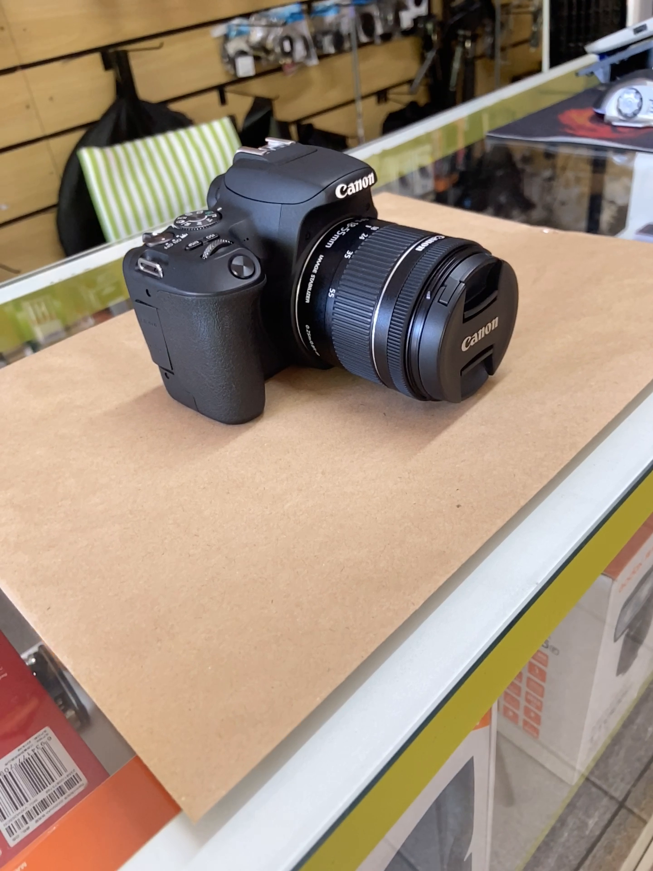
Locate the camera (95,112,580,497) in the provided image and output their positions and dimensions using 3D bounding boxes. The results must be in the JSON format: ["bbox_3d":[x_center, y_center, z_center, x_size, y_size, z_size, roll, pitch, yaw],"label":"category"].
[{"bbox_3d":[0.011,-0.071,0.289,0.130,0.089,0.141,21,46,35],"label":"camera"}]
